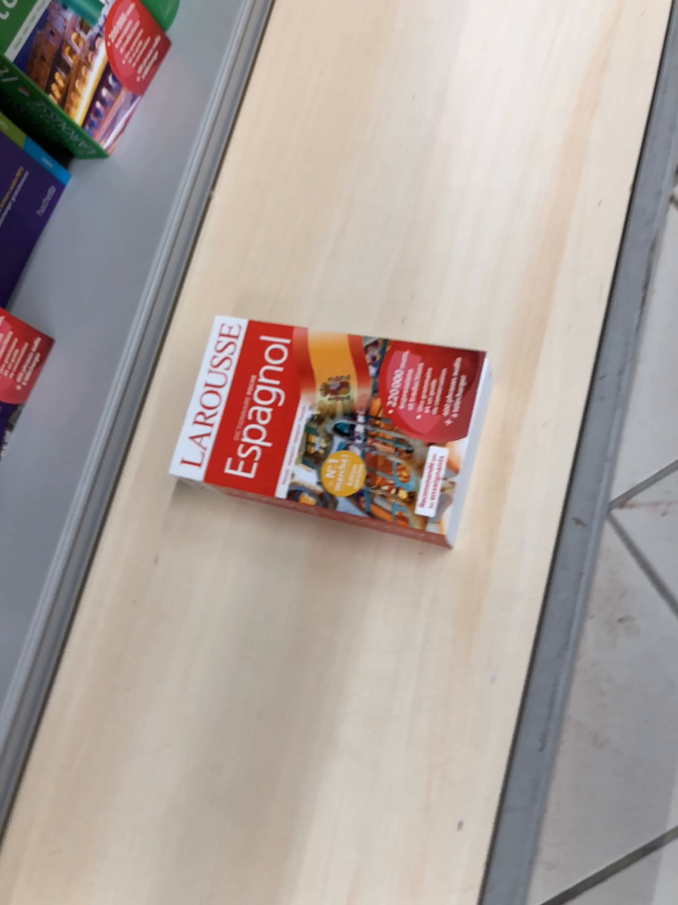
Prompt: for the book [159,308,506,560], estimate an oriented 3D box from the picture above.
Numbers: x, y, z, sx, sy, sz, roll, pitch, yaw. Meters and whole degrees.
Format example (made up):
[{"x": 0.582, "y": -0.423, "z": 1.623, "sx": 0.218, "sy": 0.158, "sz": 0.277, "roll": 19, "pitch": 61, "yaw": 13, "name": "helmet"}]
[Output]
[{"x": -0.003, "y": -0.016, "z": 0.458, "sx": 0.182, "sy": 0.044, "sz": 0.117, "roll": 11, "pitch": 75, "yaw": 20, "name": "book"}]
